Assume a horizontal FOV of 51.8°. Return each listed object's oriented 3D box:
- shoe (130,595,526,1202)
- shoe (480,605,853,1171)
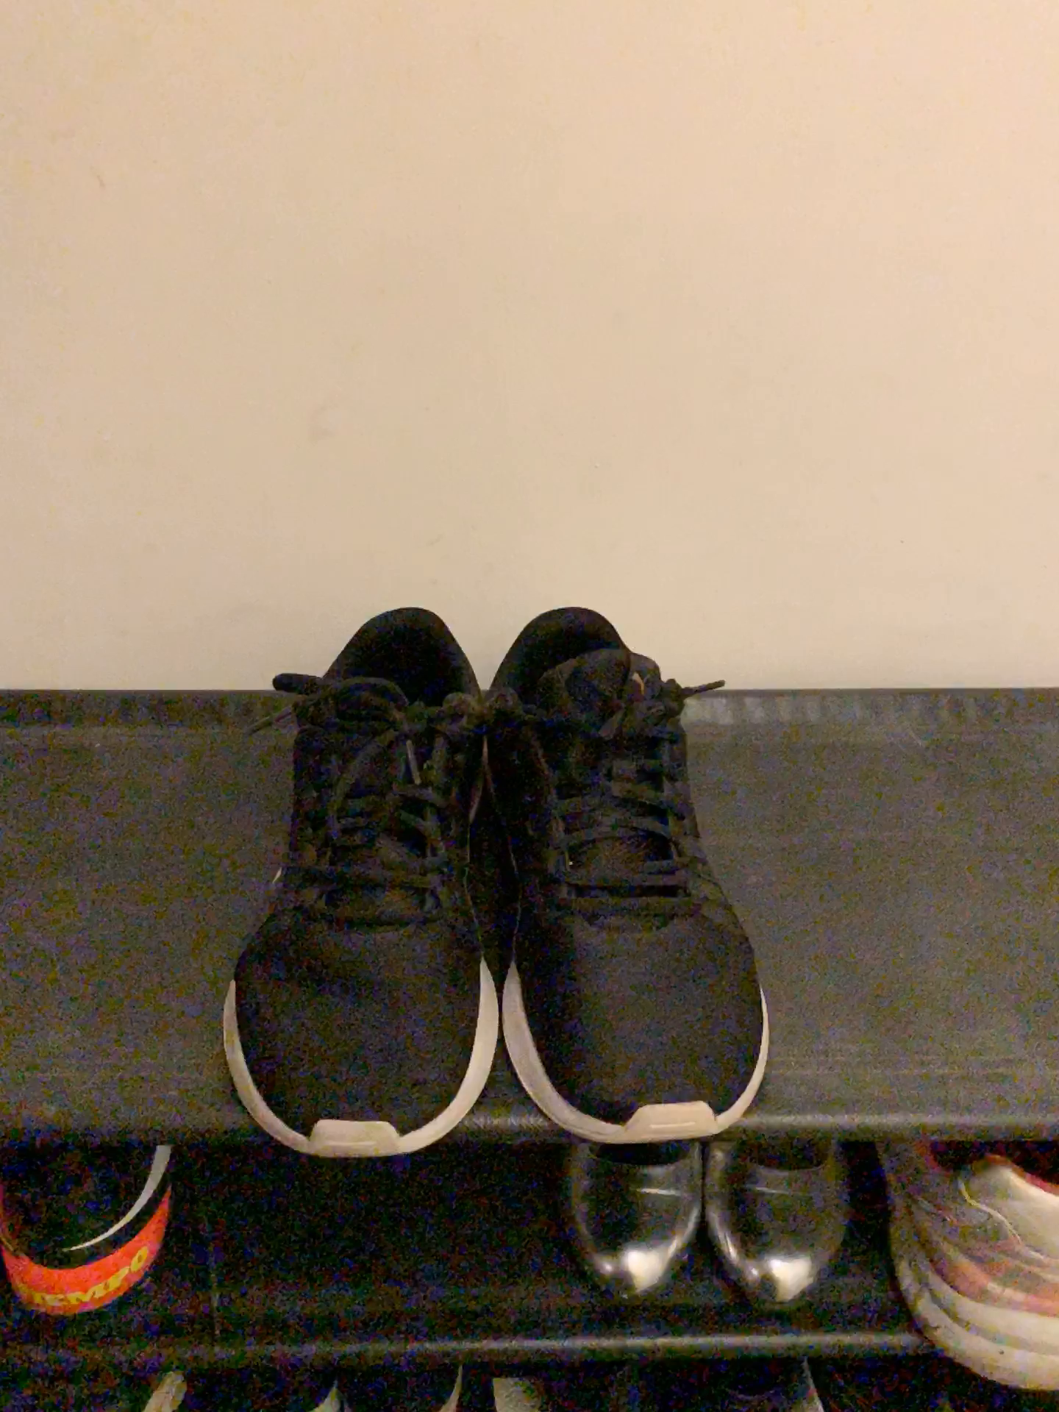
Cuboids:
[{"bbox_3d":[-0.063,0.054,0.430,0.110,0.089,0.242,-1,34,-3],"label":"shoe"},{"bbox_3d":[0.037,0.053,0.458,0.110,0.069,0.262,-1,34,-3],"label":"shoe"}]
